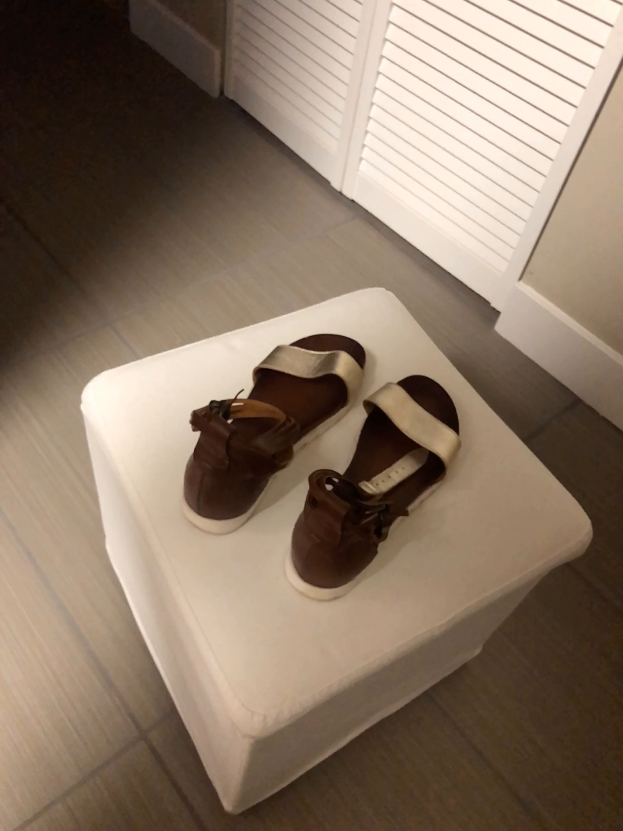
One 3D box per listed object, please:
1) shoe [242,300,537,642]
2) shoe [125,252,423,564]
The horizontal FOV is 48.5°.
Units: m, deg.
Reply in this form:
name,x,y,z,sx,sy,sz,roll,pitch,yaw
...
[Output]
name,x,y,z,sx,sy,sz,roll,pitch,yaw
shoe,0.069,0.031,0.561,0.110,0.090,0.261,31,53,15
shoe,-0.023,-0.019,0.592,0.110,0.090,0.261,31,53,15
